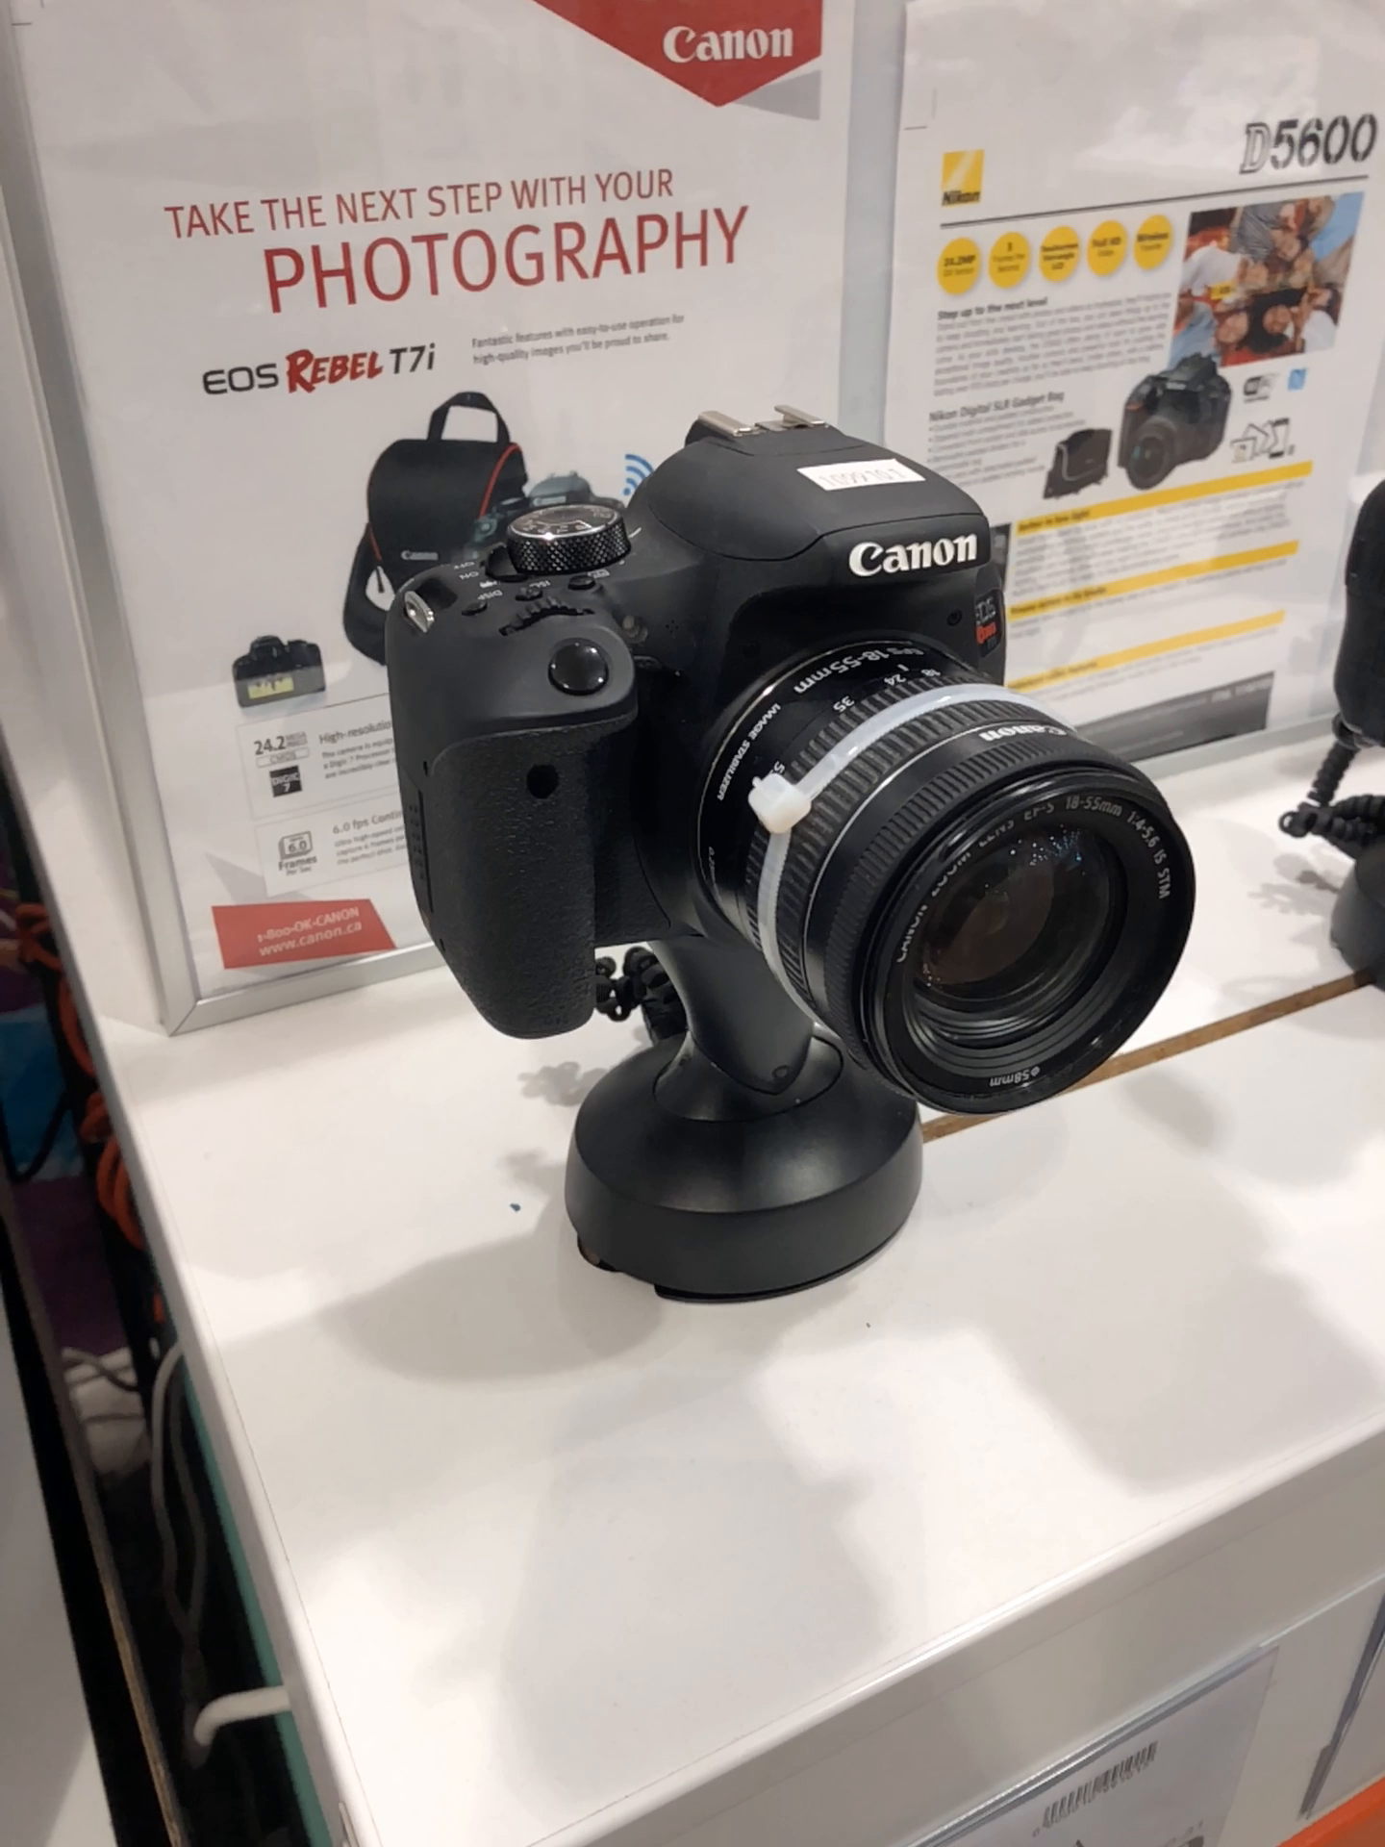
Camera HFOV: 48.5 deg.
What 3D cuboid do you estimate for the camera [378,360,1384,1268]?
[{"bbox_3d":[0.028,-0.033,0.276,0.130,0.100,0.120,-13,33,-21],"label":"camera"}]
